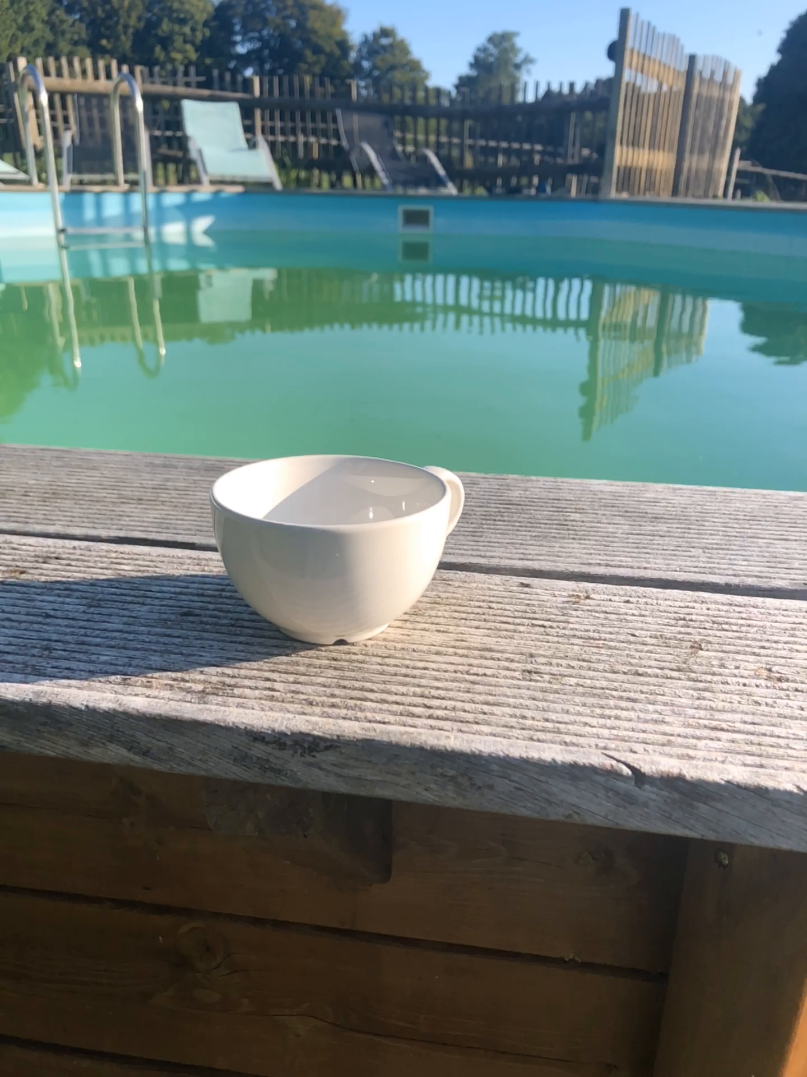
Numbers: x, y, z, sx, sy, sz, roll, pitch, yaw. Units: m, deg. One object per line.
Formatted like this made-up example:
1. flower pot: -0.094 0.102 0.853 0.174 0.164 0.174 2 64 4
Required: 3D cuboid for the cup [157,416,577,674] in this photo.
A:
1. cup: -0.012 -0.007 0.345 0.104 0.038 0.121 21 31 39
